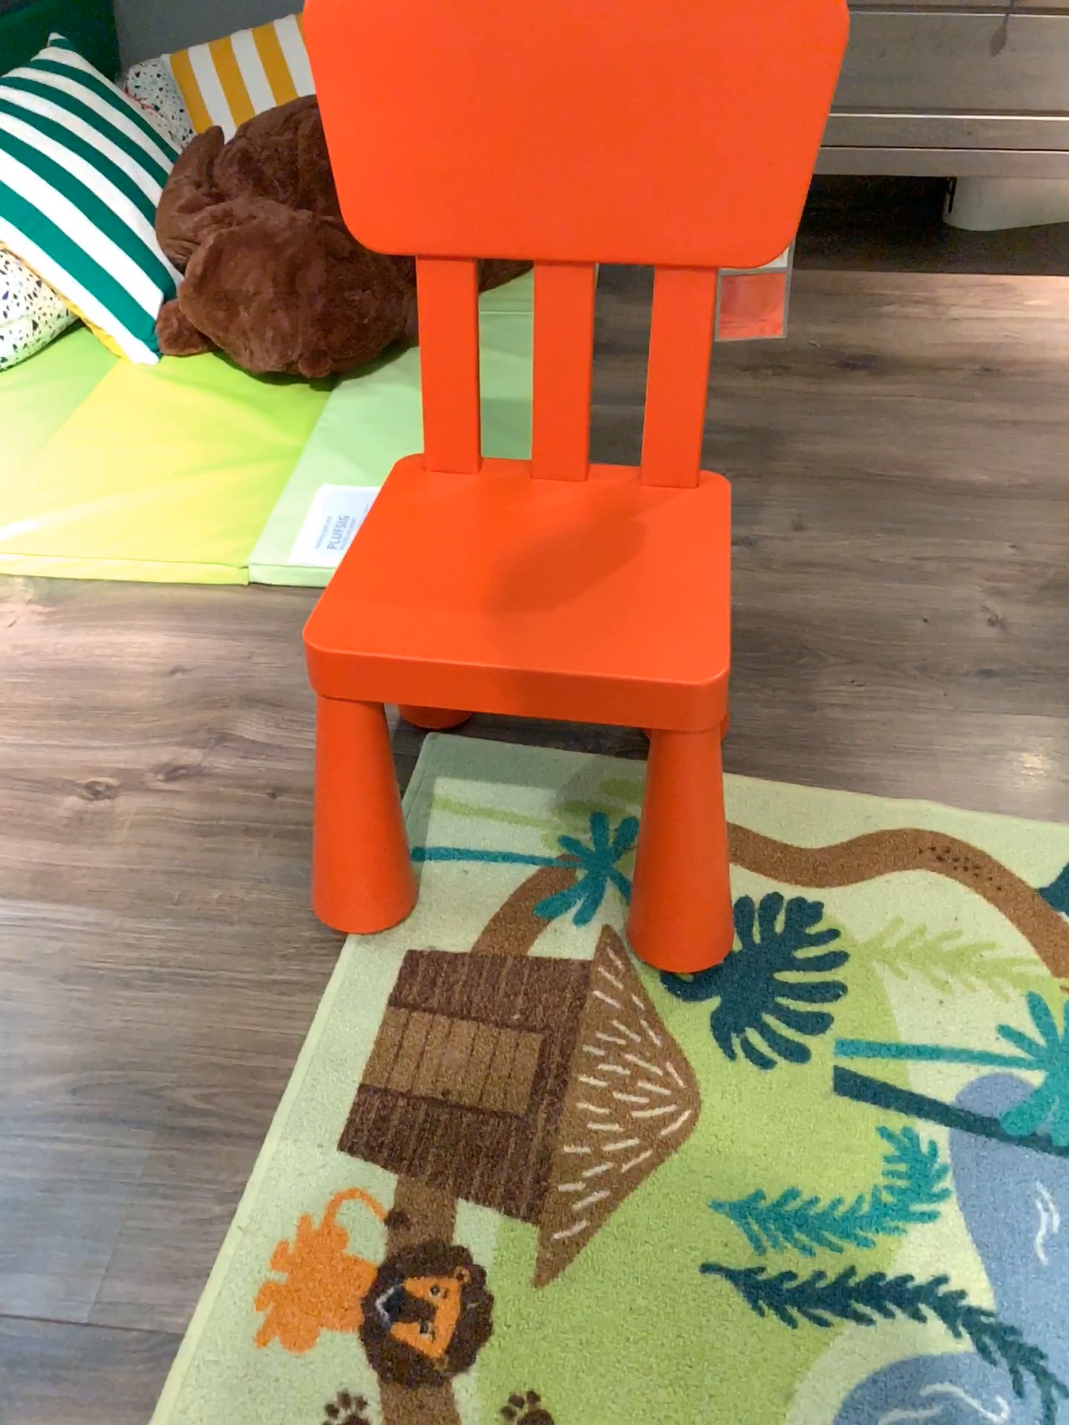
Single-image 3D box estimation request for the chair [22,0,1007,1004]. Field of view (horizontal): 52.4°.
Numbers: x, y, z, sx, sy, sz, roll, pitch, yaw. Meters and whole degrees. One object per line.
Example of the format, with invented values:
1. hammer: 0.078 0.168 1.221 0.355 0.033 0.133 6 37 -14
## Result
1. chair: 0.020 -0.180 0.847 0.430 0.597 0.492 5 42 7
